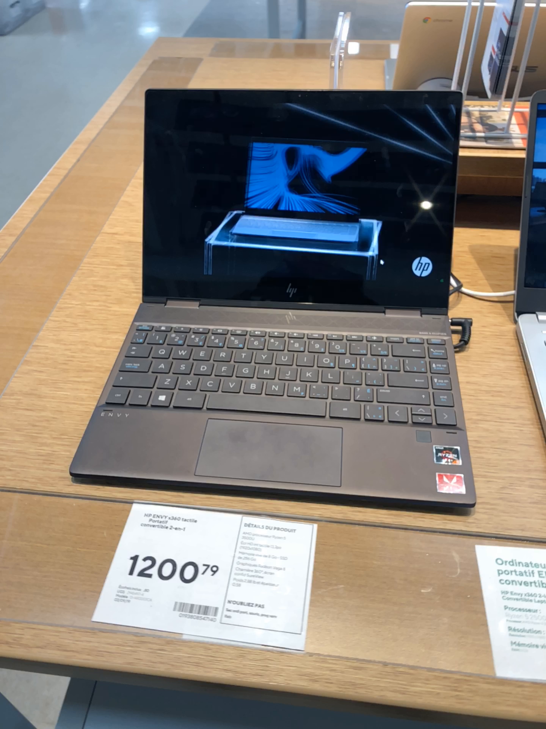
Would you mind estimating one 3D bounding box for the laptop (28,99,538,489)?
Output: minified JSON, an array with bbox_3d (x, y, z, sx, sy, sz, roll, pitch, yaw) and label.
[{"bbox_3d":[0.020,-0.084,0.515,0.293,0.162,0.319,3,44,6],"label":"laptop"}]
